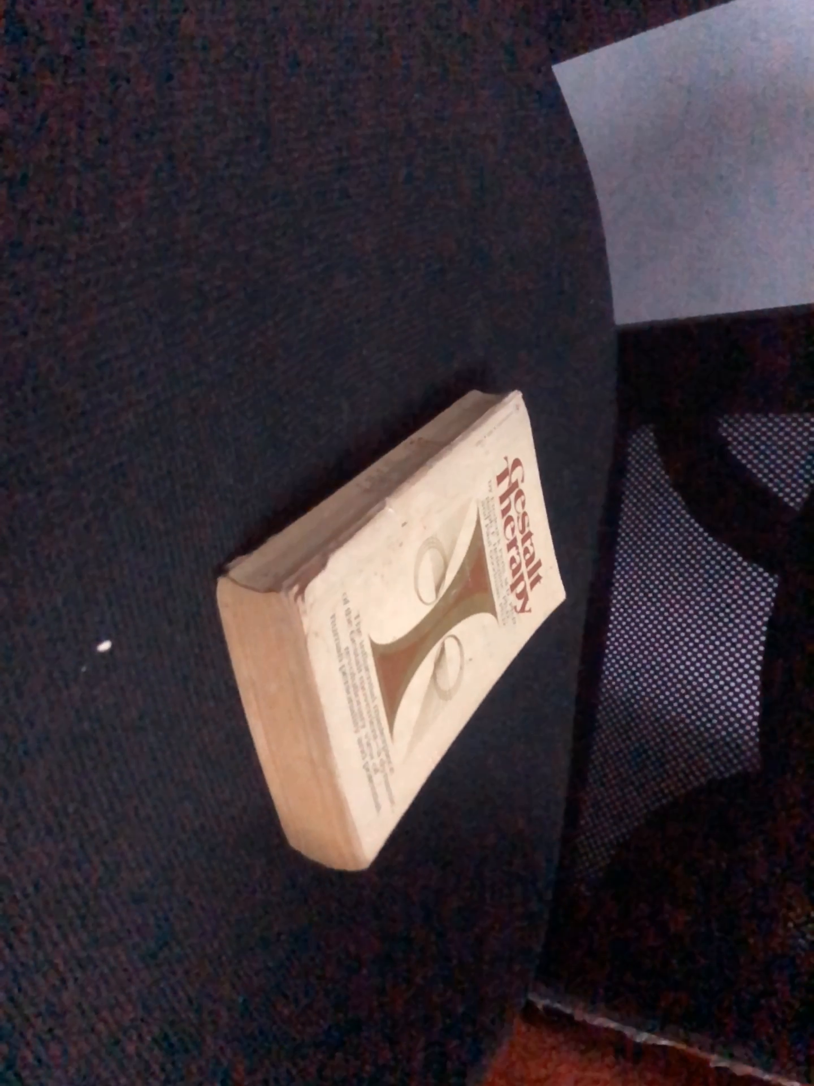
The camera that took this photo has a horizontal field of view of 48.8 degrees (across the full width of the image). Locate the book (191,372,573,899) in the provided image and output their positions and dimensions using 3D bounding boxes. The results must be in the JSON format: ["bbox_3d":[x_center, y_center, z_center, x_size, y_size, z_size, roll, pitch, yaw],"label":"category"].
[{"bbox_3d":[0.008,0.021,0.346,0.183,0.034,0.120,-43,126,-50],"label":"book"}]
